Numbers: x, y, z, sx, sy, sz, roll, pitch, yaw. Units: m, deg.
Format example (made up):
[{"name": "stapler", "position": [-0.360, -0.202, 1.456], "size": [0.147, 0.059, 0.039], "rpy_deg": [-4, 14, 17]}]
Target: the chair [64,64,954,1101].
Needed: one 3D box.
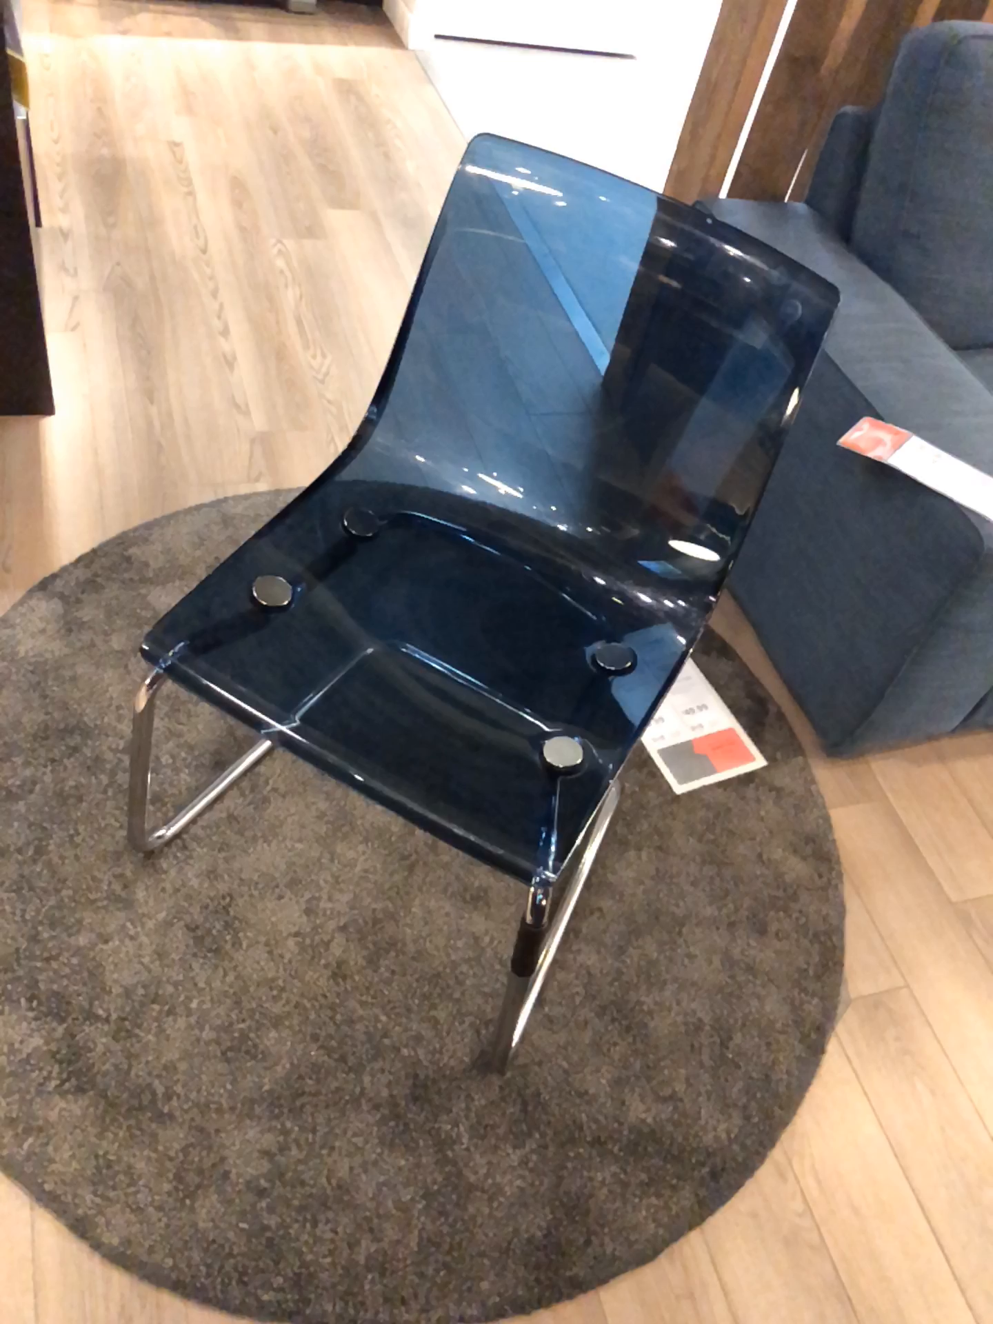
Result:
[{"name": "chair", "position": [-0.028, -0.043, 1.215], "size": [0.580, 0.867, 0.502], "rpy_deg": [28, 48, 11]}]
